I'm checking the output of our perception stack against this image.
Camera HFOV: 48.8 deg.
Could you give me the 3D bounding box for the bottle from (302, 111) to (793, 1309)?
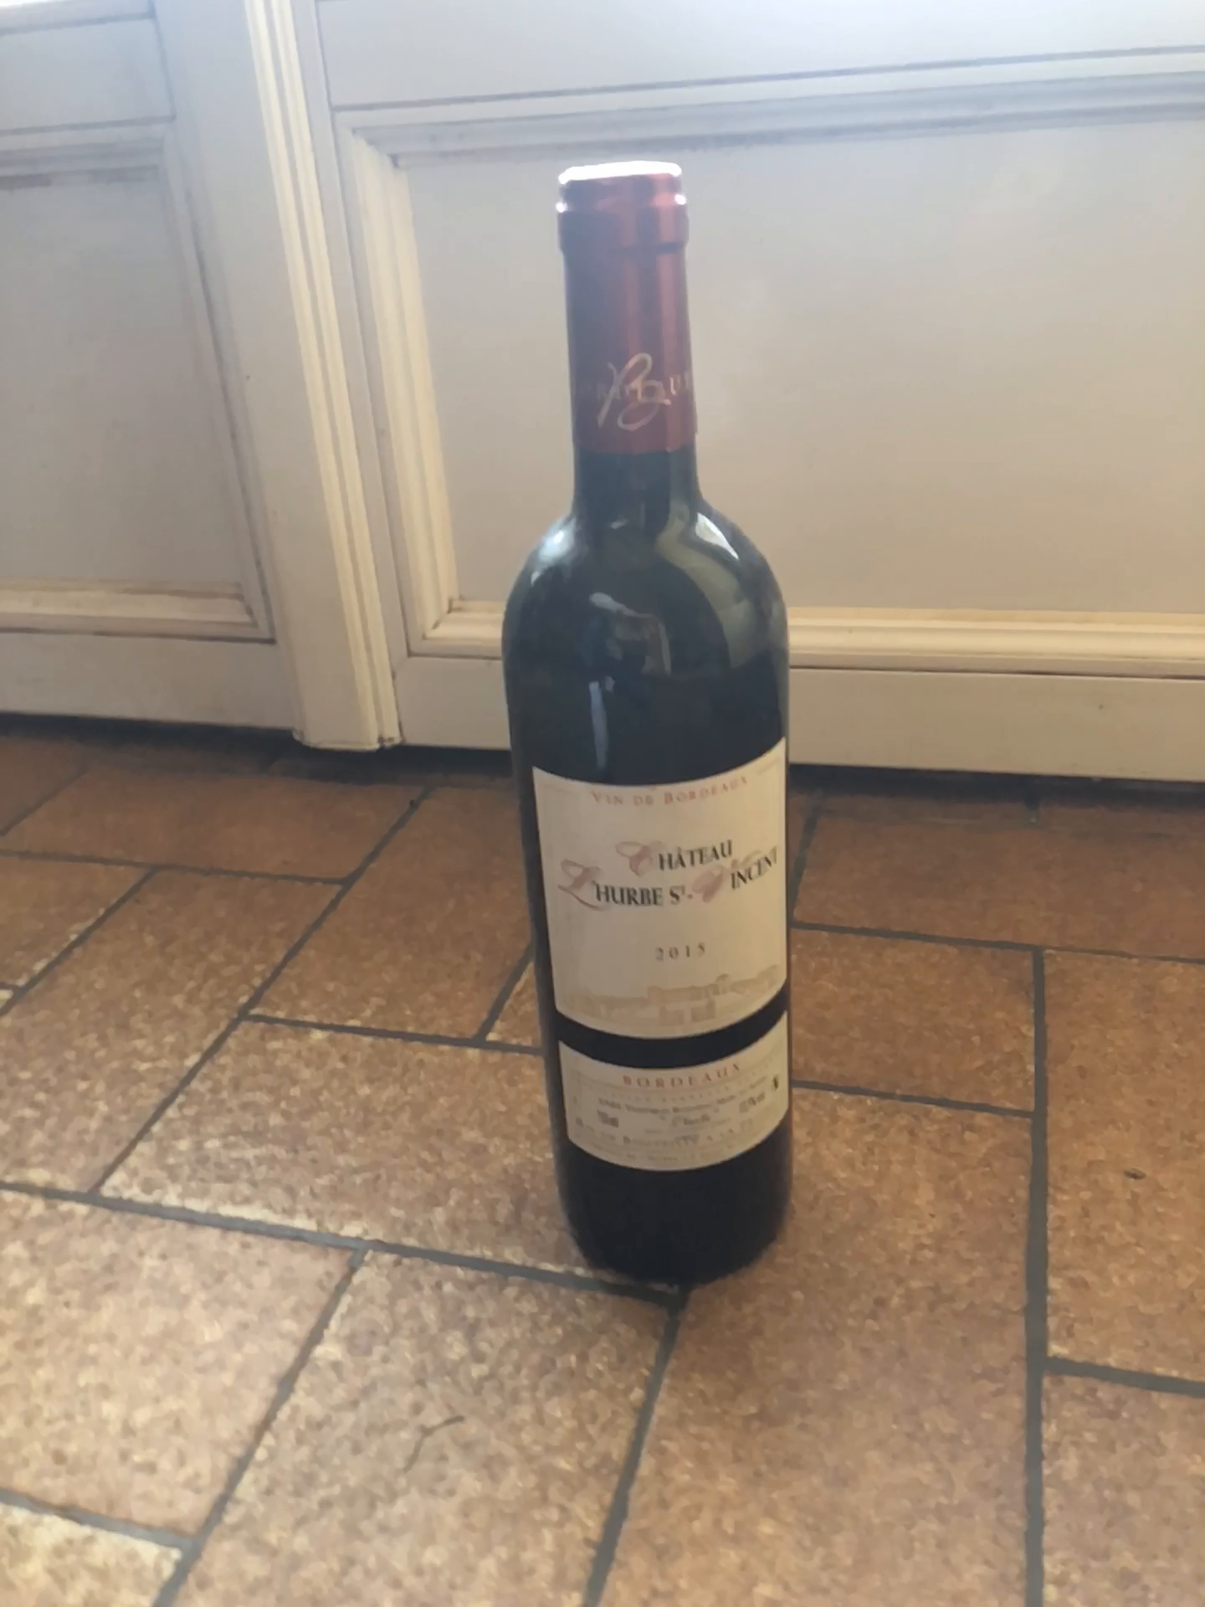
[{"bbox_3d":[-0.008,-0.015,0.347,0.090,0.288,0.090,-3,27,2],"label":"bottle"}]
